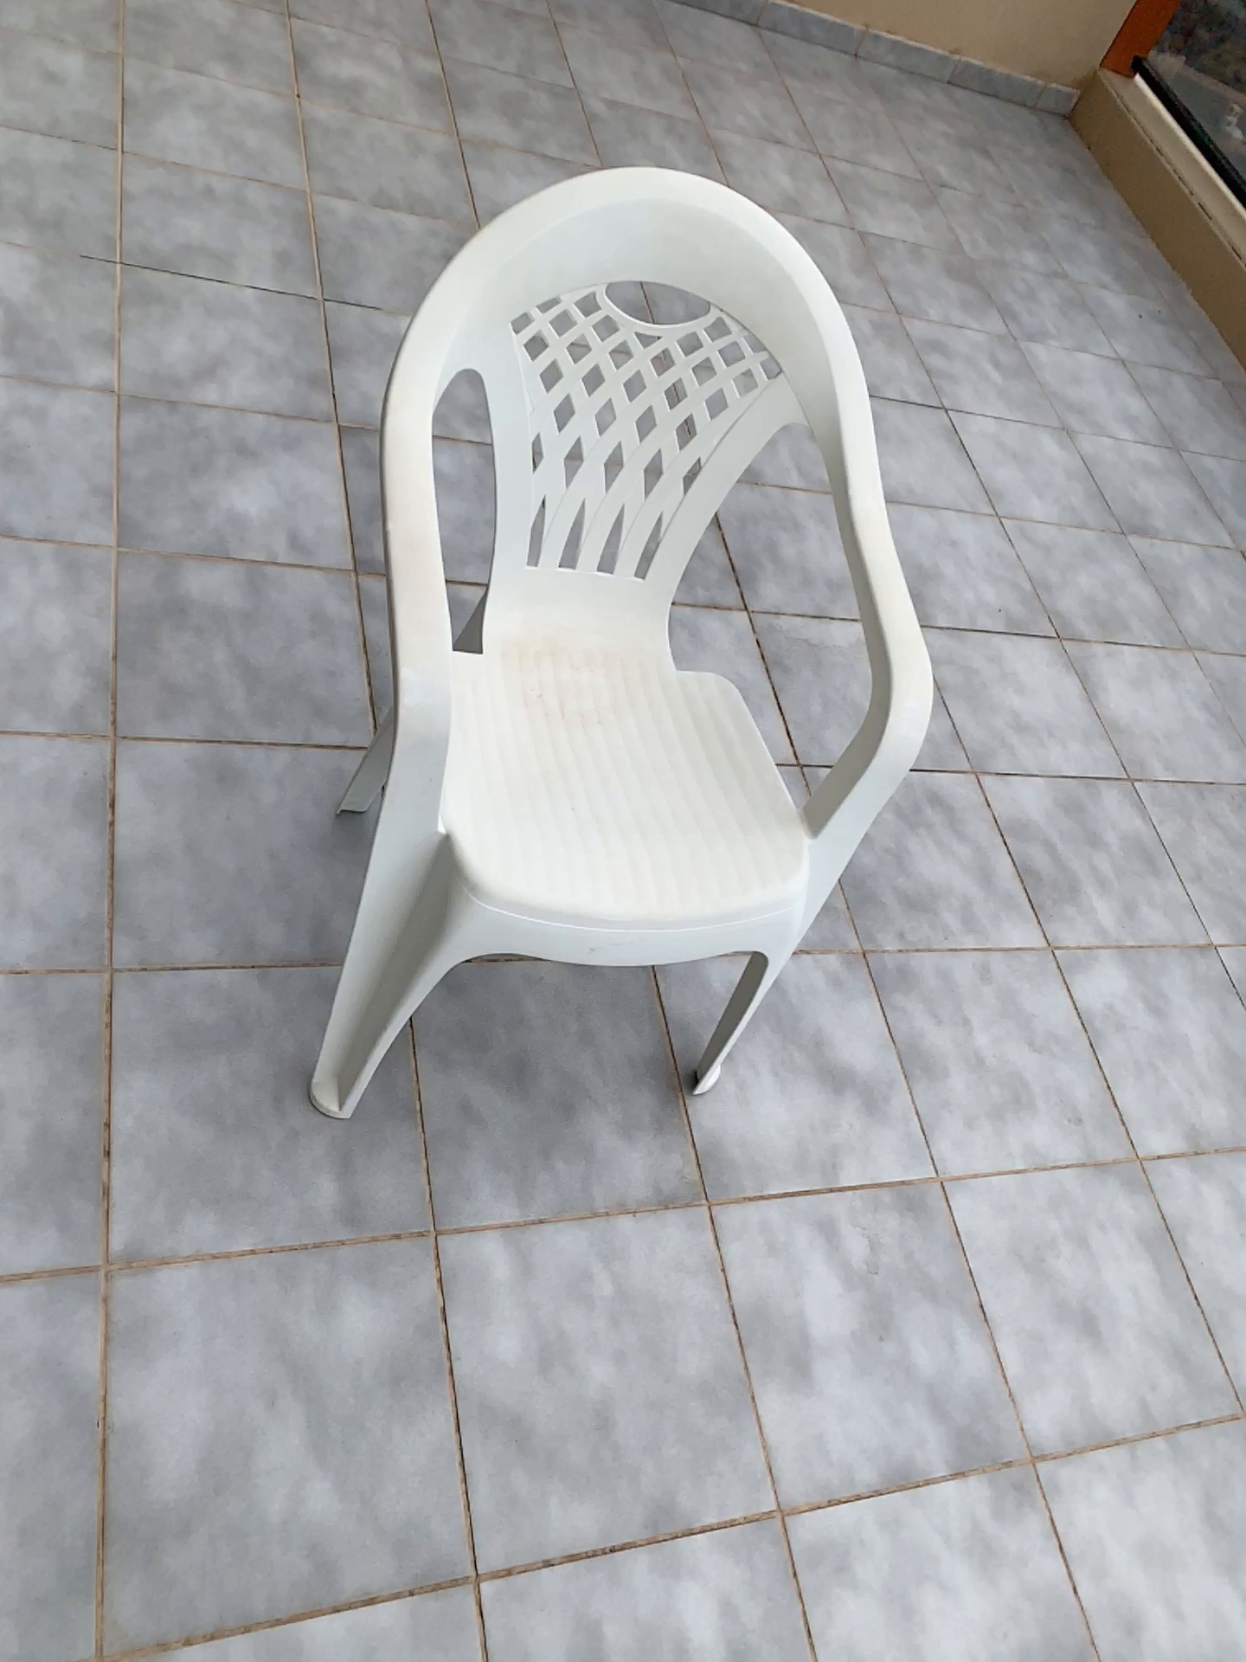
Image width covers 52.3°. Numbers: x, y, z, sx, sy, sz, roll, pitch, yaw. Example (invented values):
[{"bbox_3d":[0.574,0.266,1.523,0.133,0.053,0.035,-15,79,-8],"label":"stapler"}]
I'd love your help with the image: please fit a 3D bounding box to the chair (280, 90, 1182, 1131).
[{"bbox_3d":[-0.016,-0.146,1.347,0.544,0.823,0.611,2,55,-23],"label":"chair"}]
